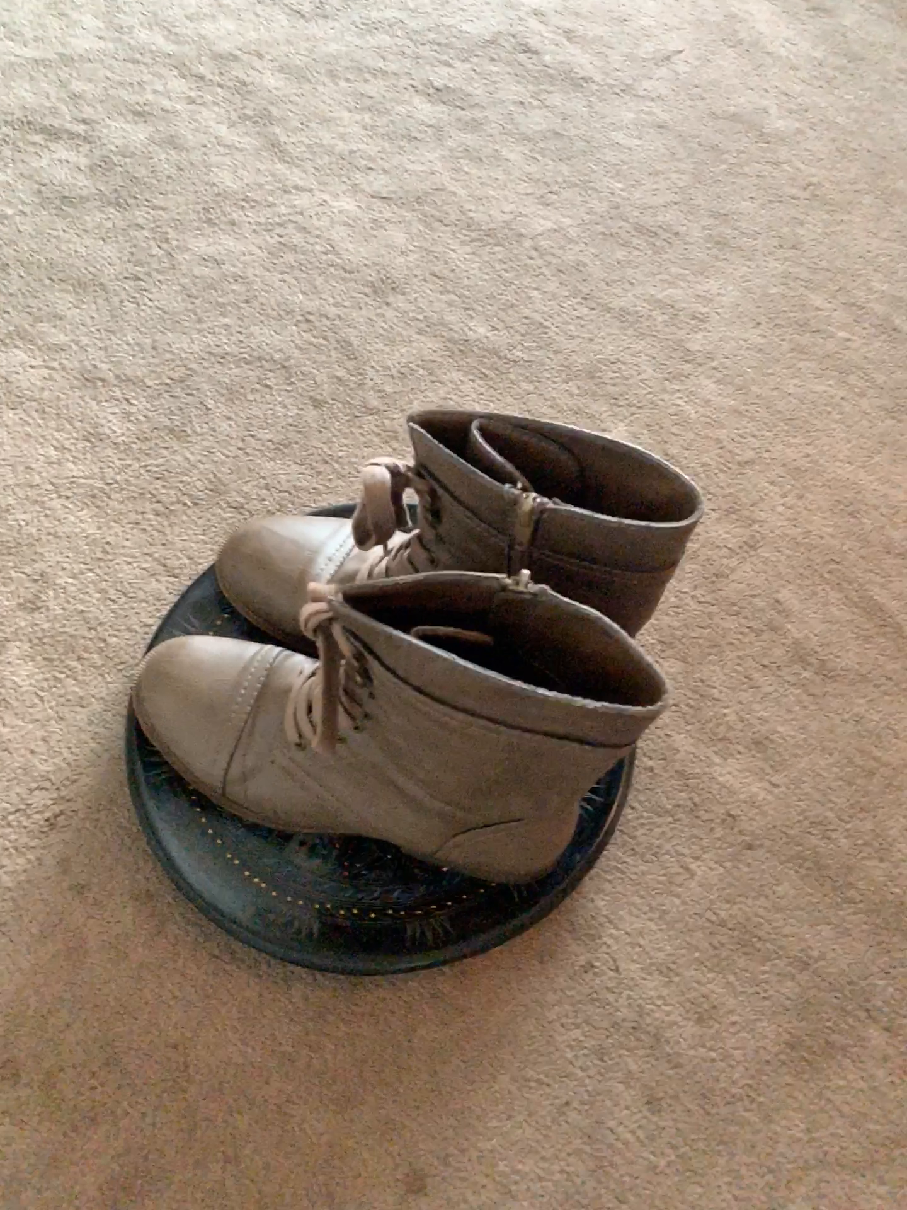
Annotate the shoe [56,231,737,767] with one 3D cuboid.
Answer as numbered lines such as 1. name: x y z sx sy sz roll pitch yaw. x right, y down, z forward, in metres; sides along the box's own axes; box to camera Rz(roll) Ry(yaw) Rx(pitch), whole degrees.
1. shoe: -0.027 -0.042 0.481 0.270 0.199 0.101 20 62 8

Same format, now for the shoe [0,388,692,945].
1. shoe: -0.058 0.042 0.436 0.270 0.199 0.101 20 62 8
